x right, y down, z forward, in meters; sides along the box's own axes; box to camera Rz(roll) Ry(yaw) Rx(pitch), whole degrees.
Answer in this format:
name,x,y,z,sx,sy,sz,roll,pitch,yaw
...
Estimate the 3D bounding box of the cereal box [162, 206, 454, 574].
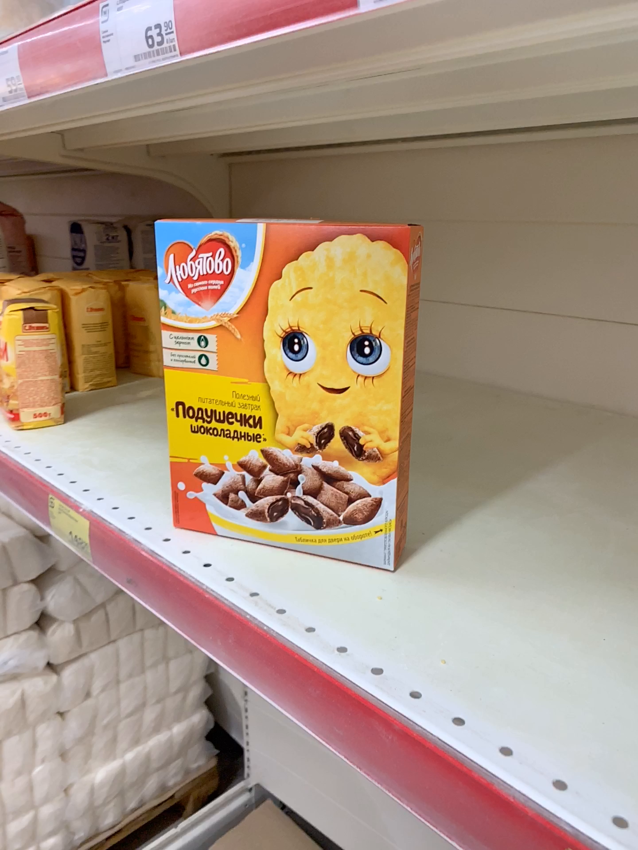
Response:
name,x,y,z,sx,sy,sz,roll,pitch,yaw
cereal box,-0.010,-0.029,0.451,0.180,0.229,0.050,7,18,20
